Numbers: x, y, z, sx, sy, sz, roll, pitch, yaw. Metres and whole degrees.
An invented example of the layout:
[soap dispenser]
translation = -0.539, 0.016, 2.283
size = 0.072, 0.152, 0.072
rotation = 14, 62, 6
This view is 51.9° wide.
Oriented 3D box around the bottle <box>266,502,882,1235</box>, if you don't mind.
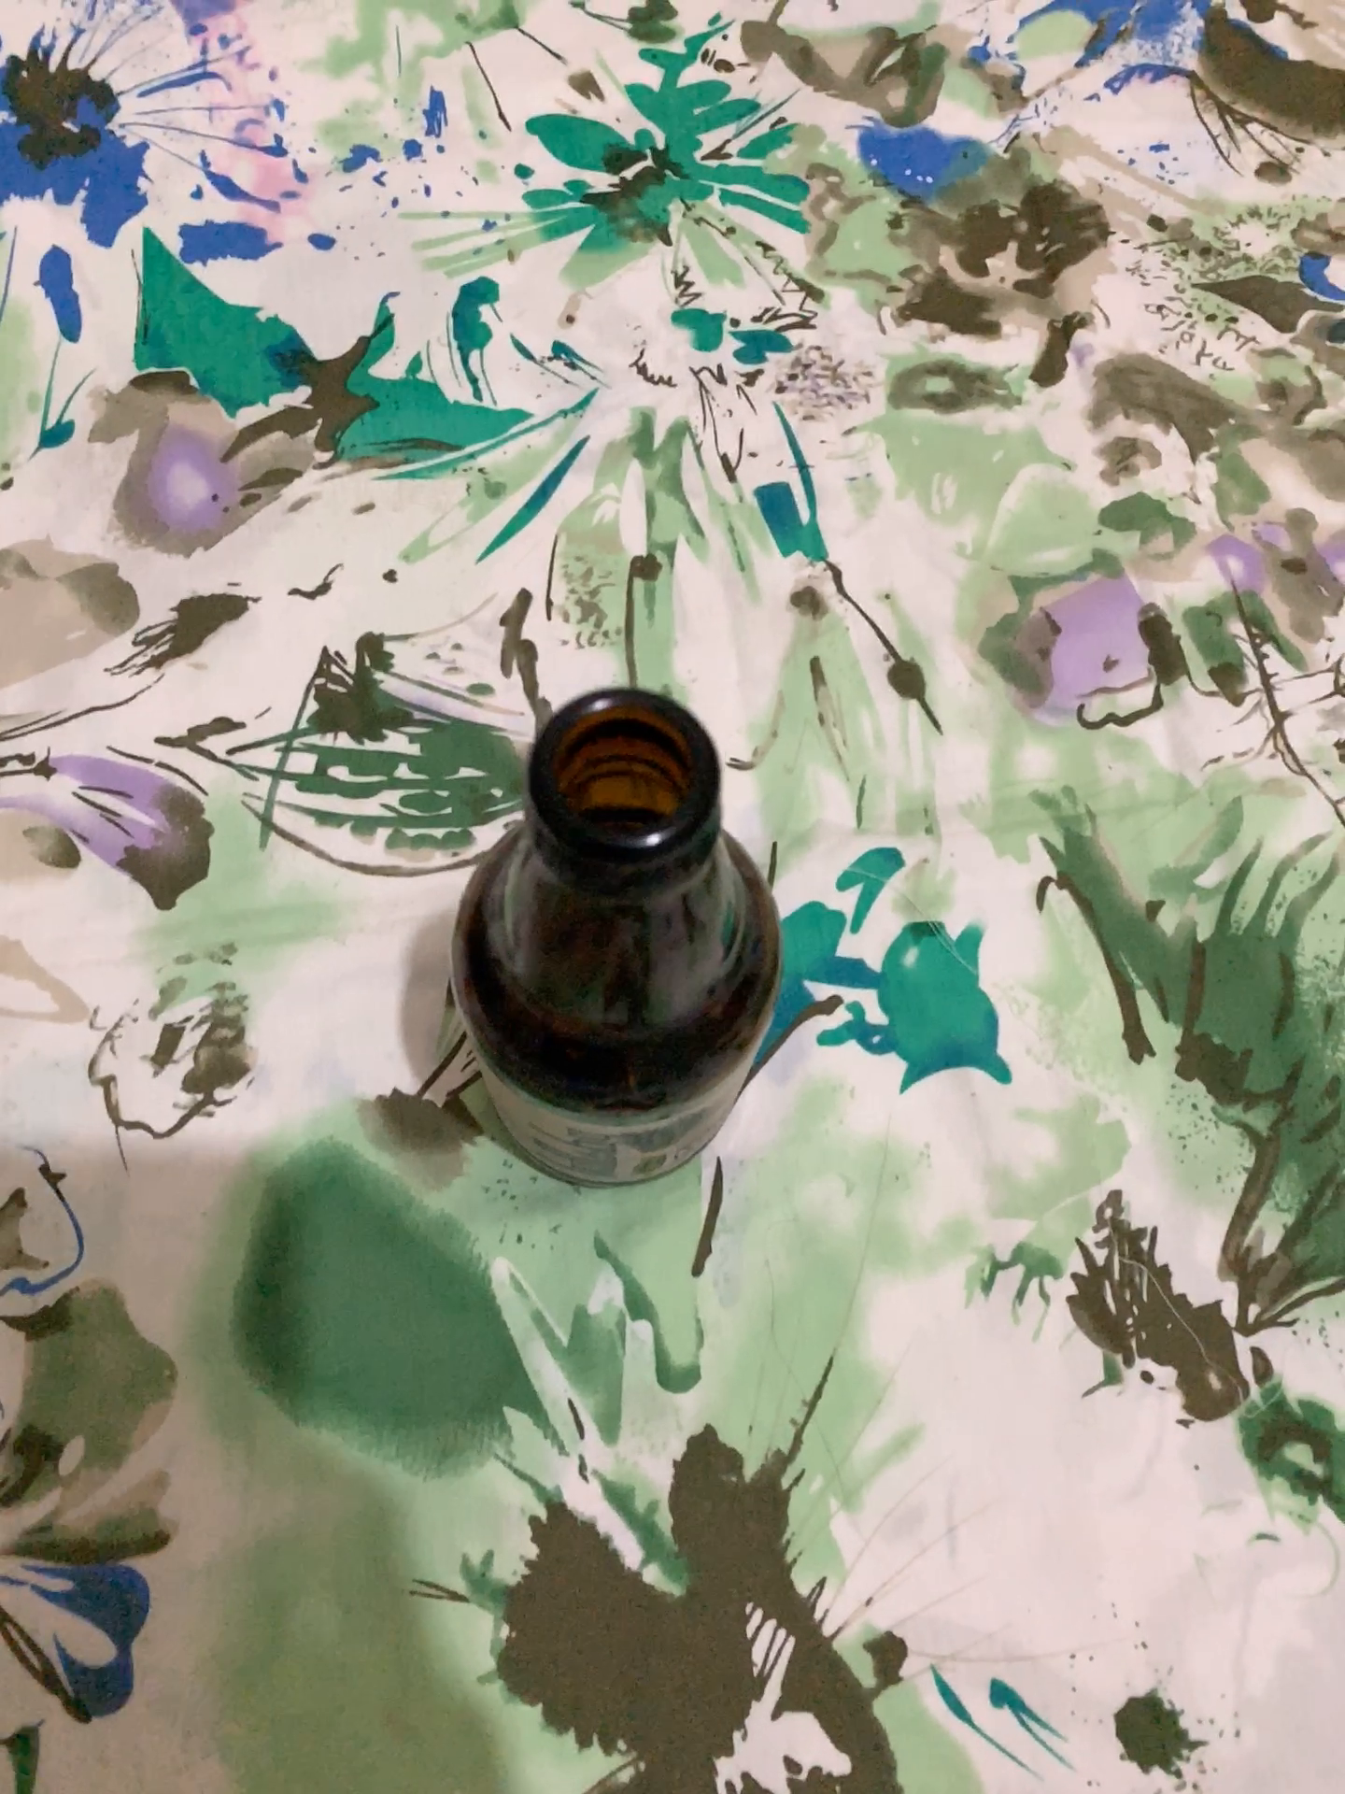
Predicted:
[bottle]
translation = -0.014, 0.014, 0.255
size = 0.070, 0.180, 0.070
rotation = 1, 70, -3
